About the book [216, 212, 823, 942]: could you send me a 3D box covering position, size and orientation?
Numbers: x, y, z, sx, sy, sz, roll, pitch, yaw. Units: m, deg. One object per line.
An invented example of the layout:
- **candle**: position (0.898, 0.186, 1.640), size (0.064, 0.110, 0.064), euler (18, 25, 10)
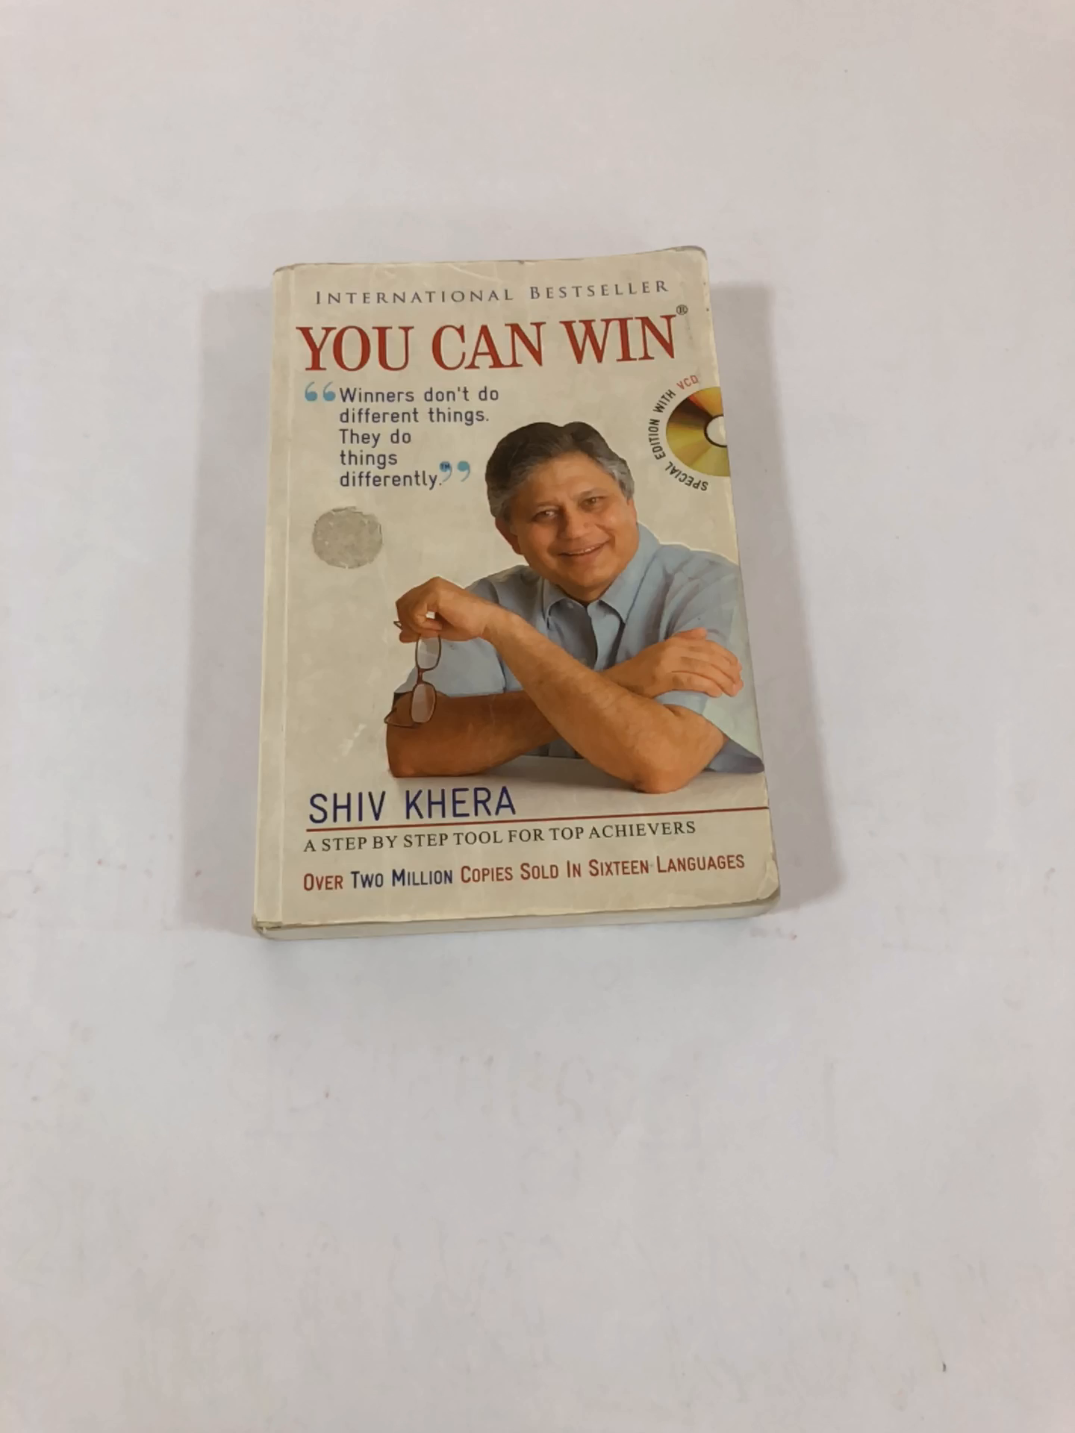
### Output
- **book**: position (-0.010, -0.047, 0.348), size (0.150, 0.040, 0.210), euler (-2, 71, -3)
